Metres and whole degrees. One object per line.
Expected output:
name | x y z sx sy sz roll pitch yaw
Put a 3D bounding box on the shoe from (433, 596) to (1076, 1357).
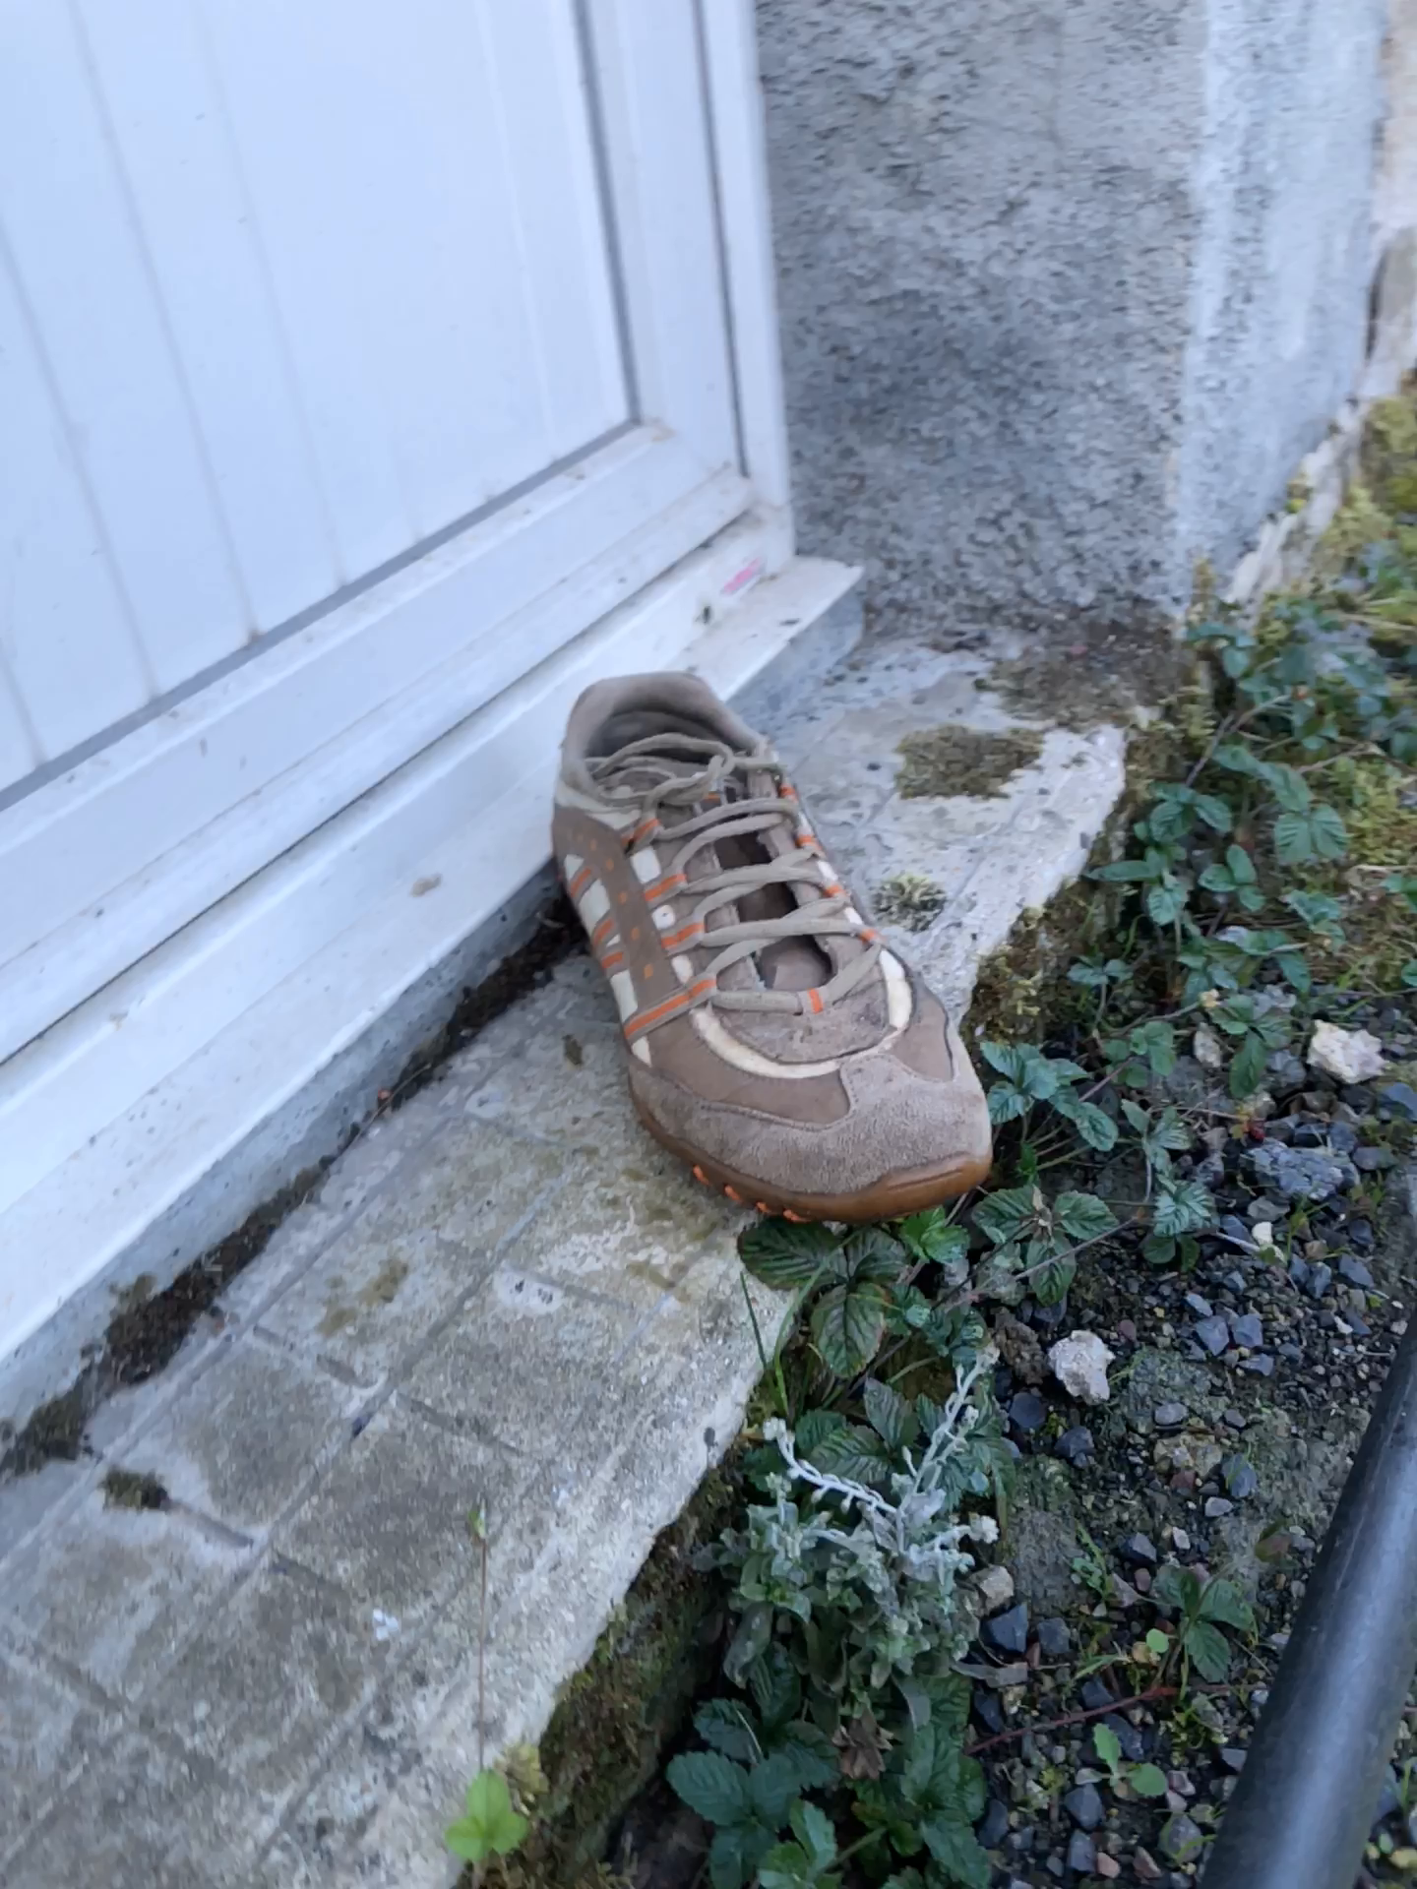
shoe | 0.000 -0.012 0.518 0.110 0.099 0.271 -17 35 -13
